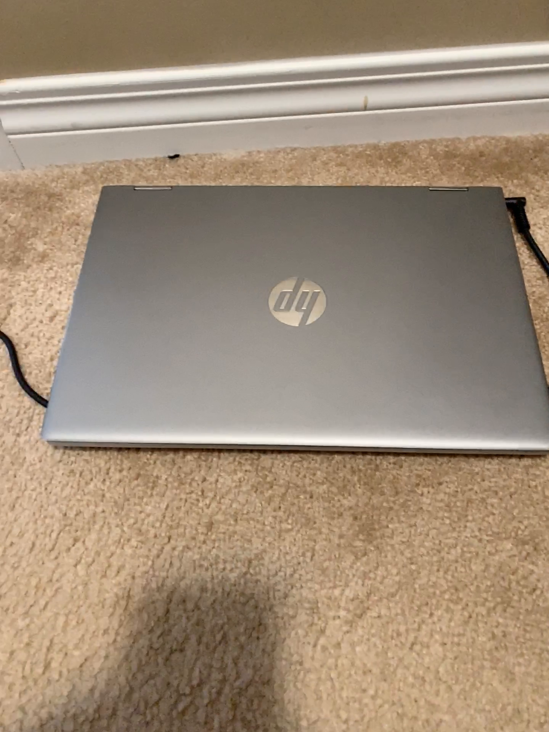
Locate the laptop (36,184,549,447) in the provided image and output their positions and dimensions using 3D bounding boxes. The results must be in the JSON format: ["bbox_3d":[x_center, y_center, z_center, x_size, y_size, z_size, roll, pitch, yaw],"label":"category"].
[{"bbox_3d":[0.018,-0.049,0.399,0.319,0.001,0.222,1,60,0],"label":"laptop"}]
